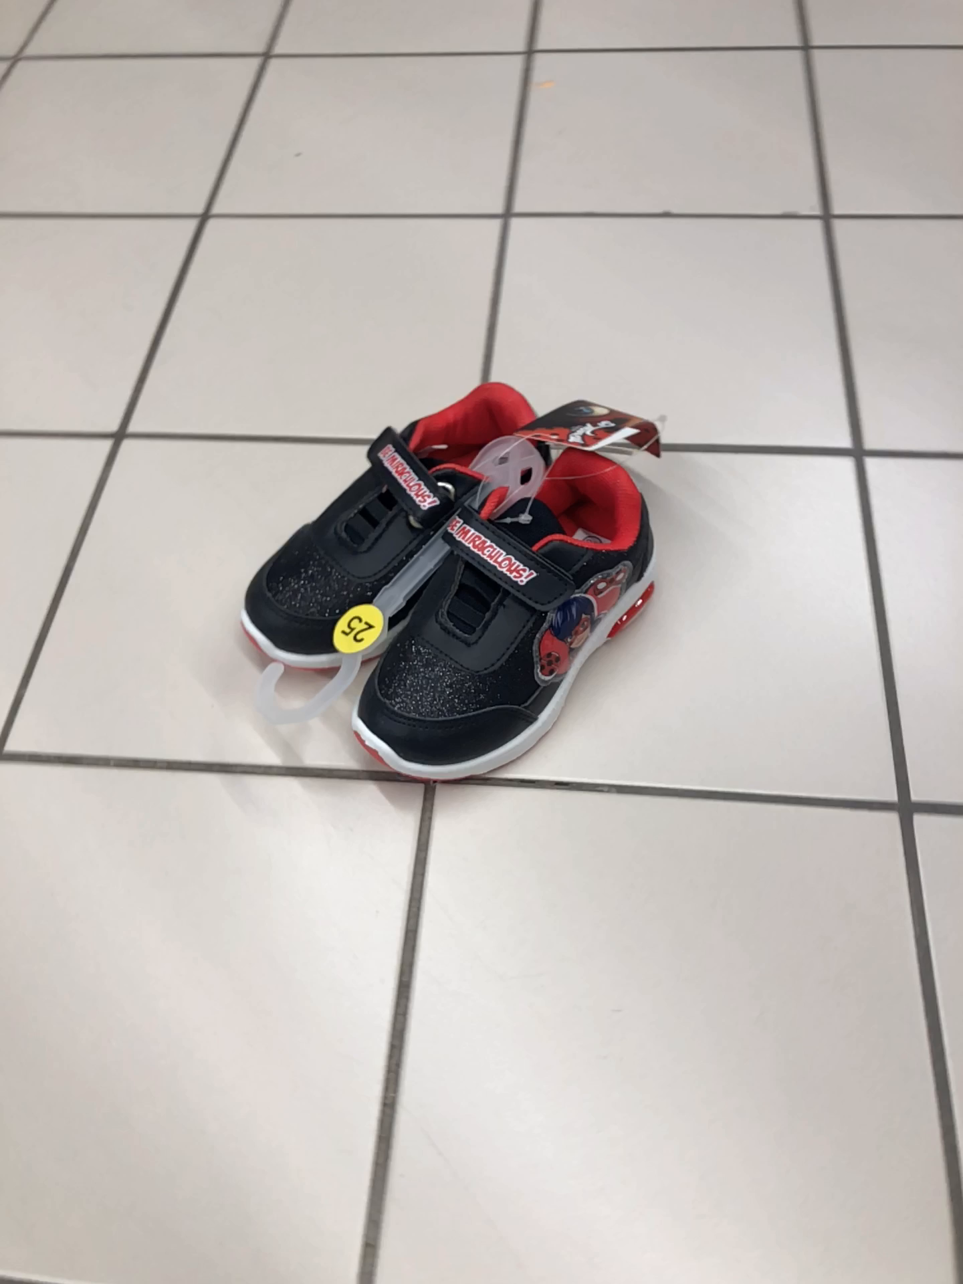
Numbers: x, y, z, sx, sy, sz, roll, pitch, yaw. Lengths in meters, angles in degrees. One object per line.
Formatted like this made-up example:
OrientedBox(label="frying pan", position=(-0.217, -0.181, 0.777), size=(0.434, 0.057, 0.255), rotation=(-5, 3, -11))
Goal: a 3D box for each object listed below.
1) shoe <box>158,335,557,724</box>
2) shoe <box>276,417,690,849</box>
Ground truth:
OrientedBox(label="shoe", position=(-0.049, -0.055, 0.489), size=(0.075, 0.069, 0.167), rotation=(38, 66, 25))
OrientedBox(label="shoe", position=(0.006, -0.008, 0.460), size=(0.077, 0.071, 0.168), rotation=(35, 65, 24))
